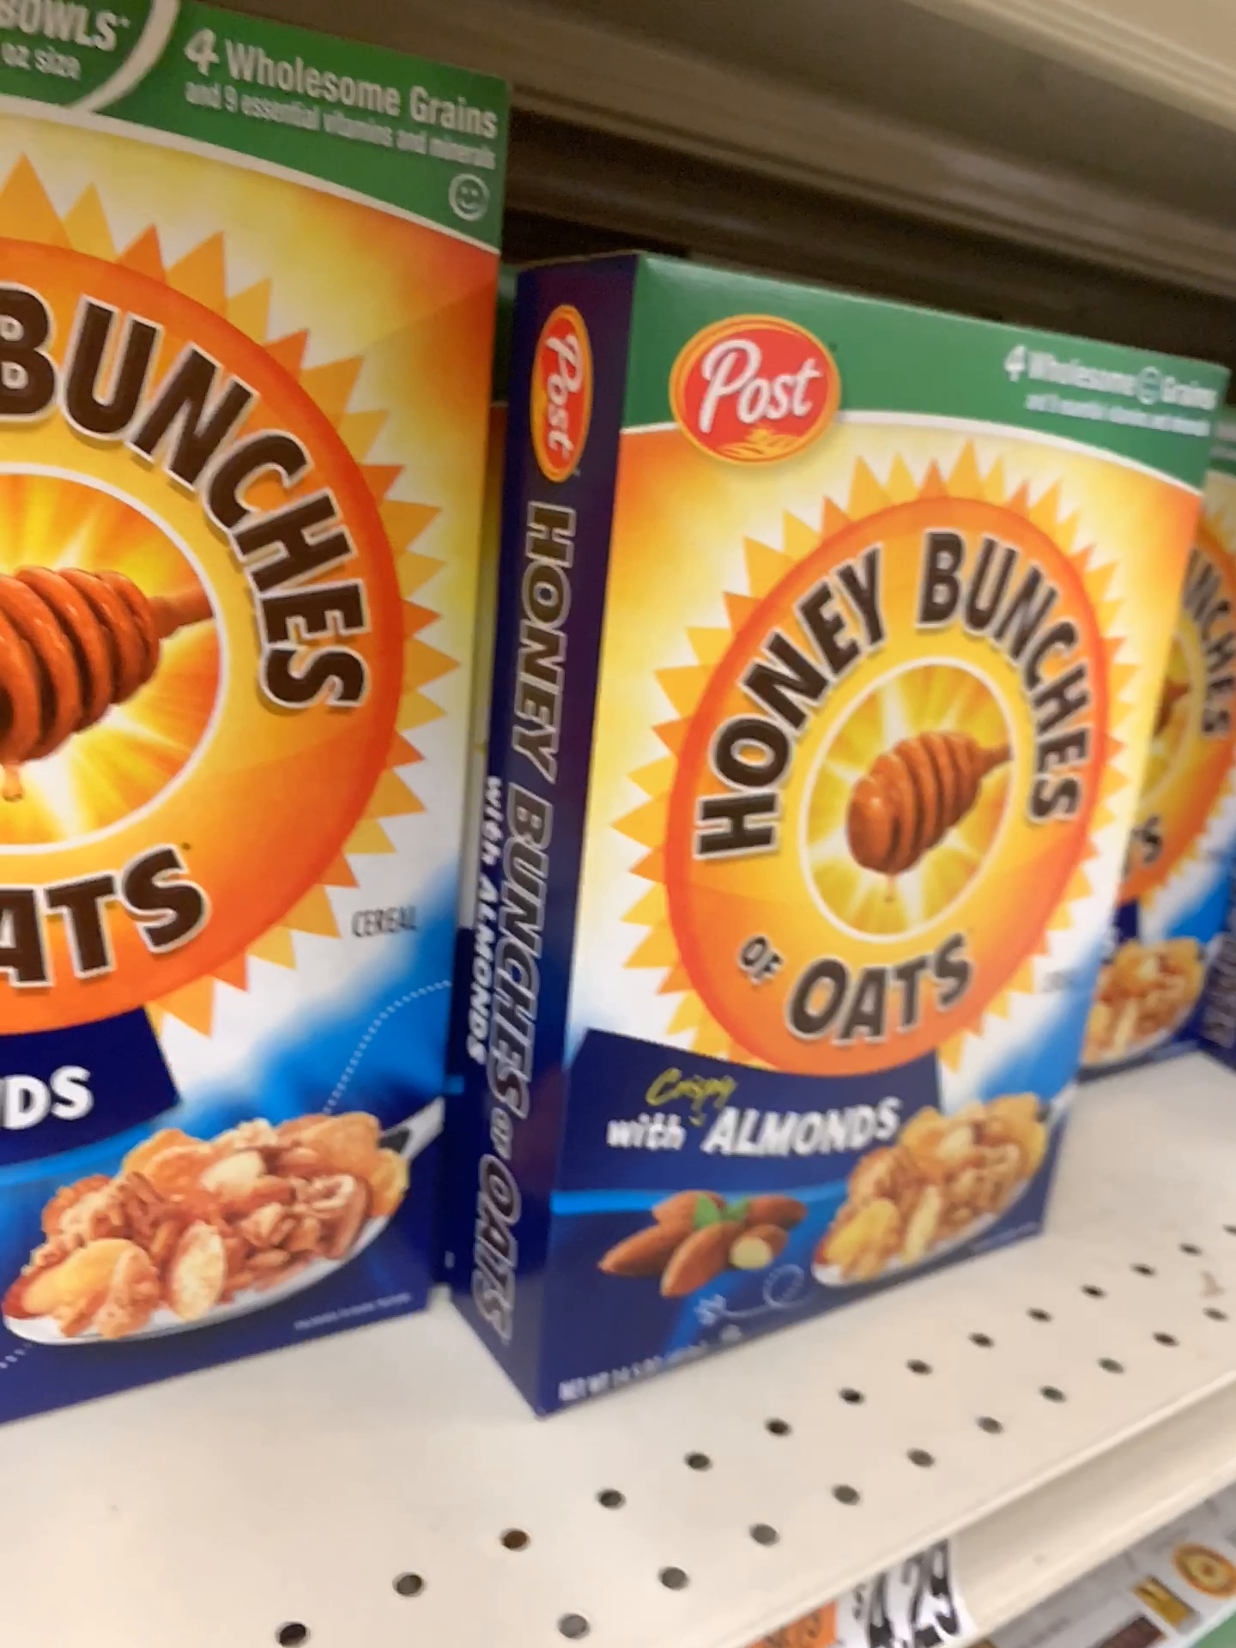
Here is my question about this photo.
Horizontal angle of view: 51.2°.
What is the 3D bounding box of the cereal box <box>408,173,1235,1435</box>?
[{"bbox_3d":[0.056,-0.002,0.352,0.200,0.279,0.060,-5,19,-33],"label":"cereal box"}]
